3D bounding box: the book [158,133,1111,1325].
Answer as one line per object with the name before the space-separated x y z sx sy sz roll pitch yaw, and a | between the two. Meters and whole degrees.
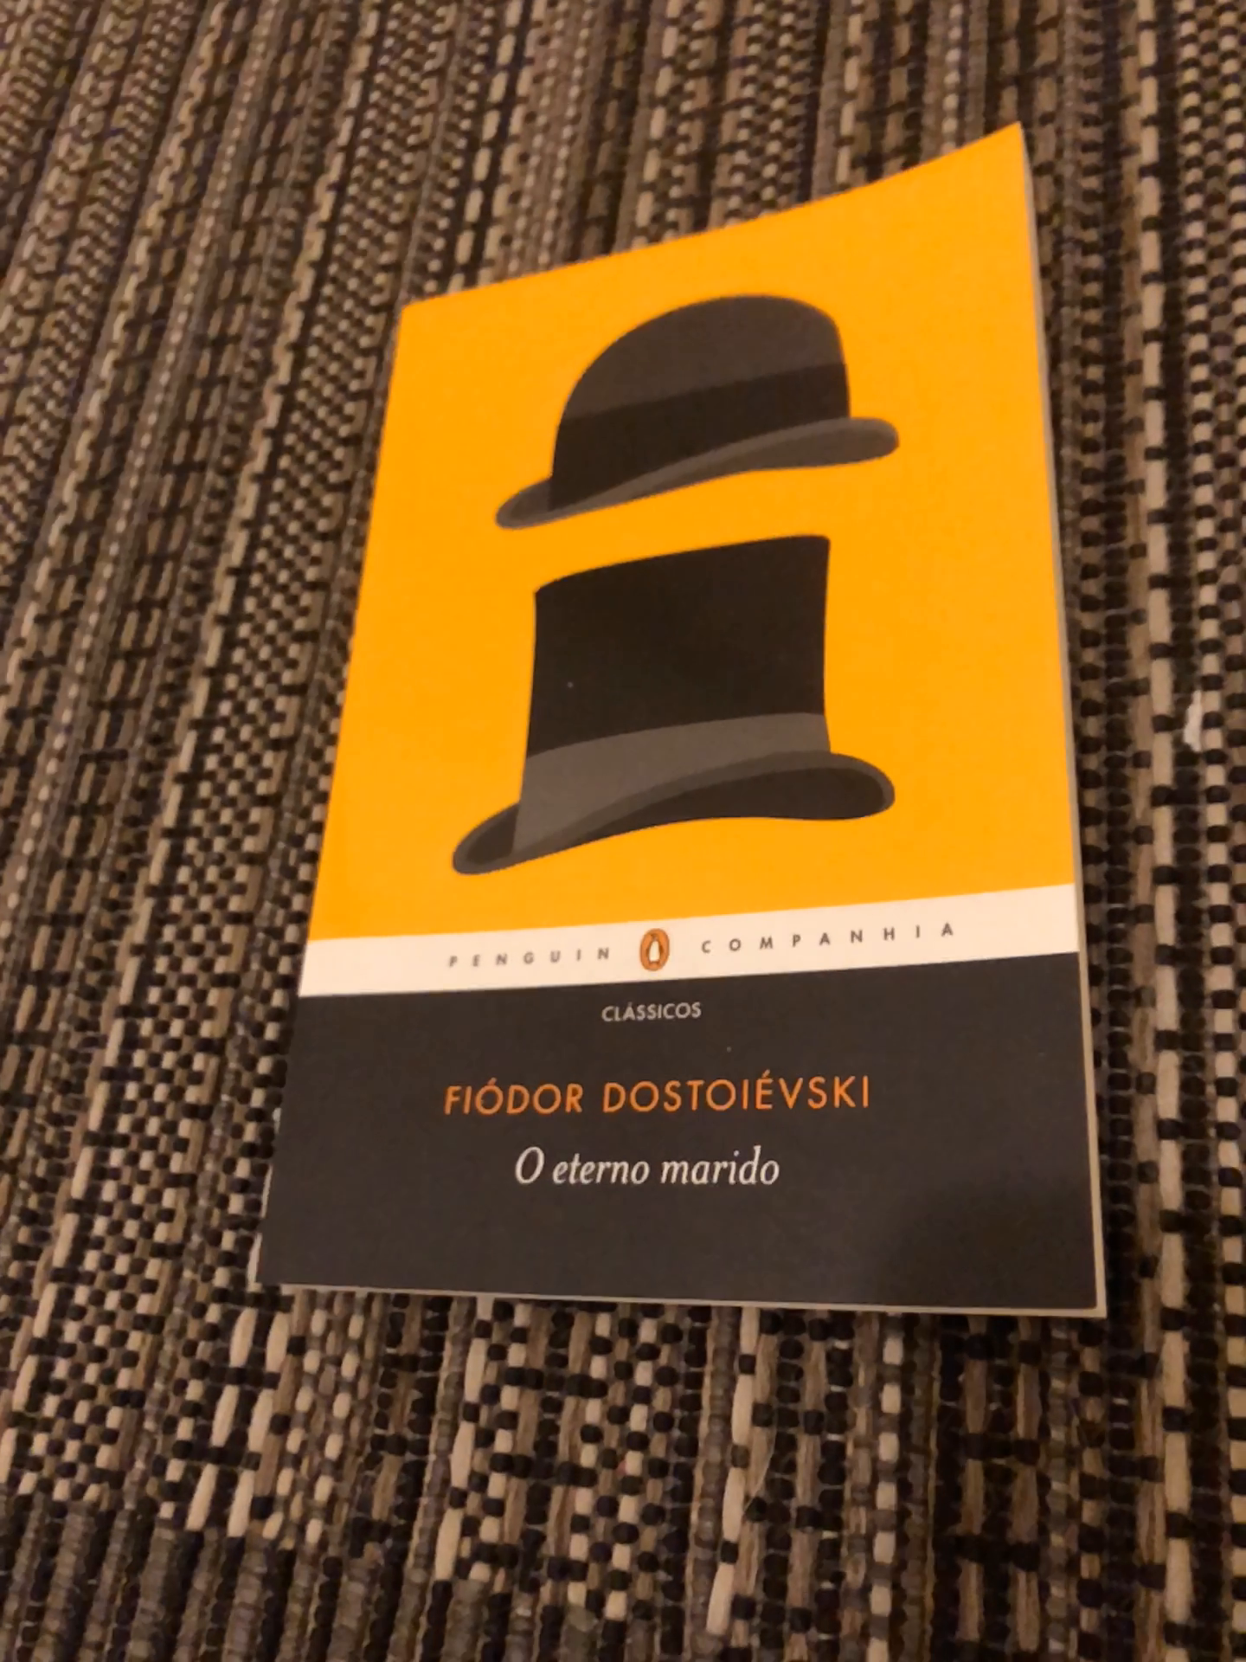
book | 0.001 -0.020 0.223 0.130 0.020 0.180 -6 65 22
